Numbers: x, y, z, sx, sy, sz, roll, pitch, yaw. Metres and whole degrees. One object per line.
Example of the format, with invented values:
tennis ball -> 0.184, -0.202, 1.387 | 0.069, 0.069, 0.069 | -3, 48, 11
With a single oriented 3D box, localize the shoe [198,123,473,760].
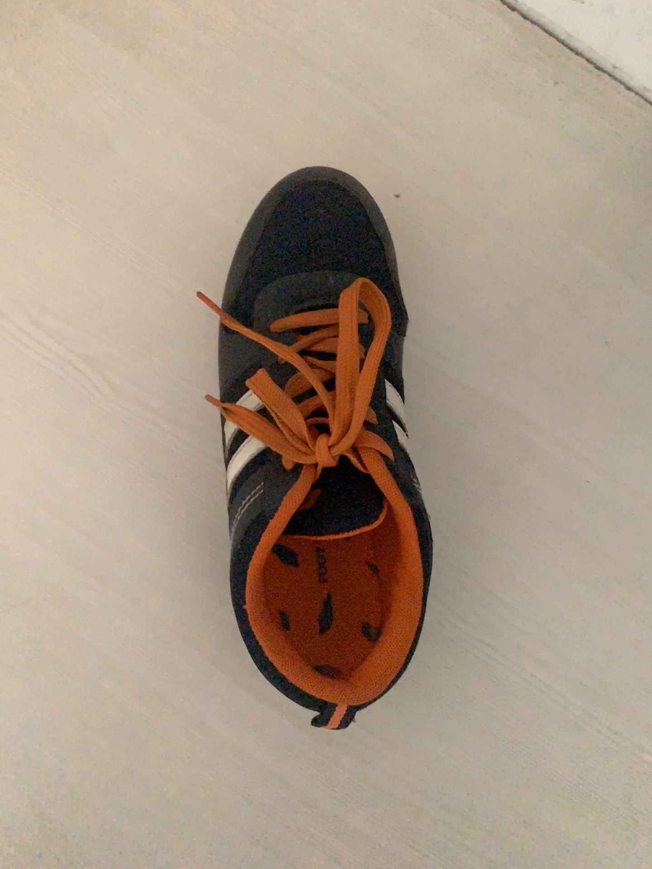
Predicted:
shoe -> -0.001, -0.001, 0.305 | 0.100, 0.080, 0.250 | -1, 83, -4
